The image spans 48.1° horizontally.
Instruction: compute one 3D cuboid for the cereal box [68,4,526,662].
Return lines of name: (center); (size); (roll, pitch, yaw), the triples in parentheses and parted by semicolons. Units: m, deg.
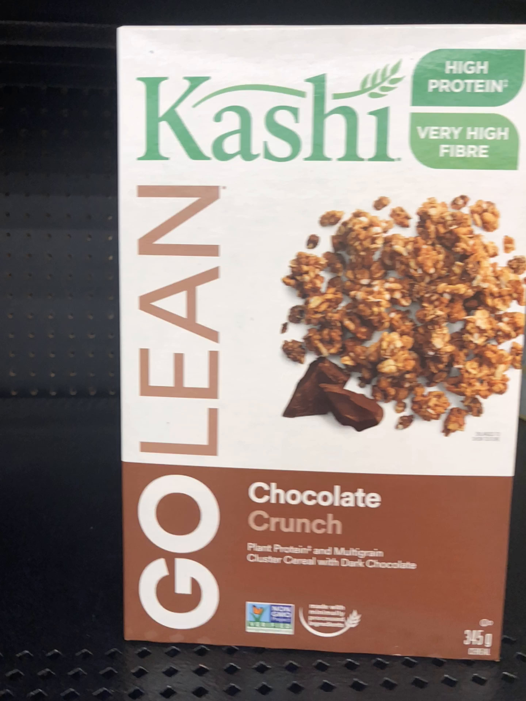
cereal box: (0.017, -0.004, 0.252); (0.180, 0.250, 0.050); (2, 7, 3)
